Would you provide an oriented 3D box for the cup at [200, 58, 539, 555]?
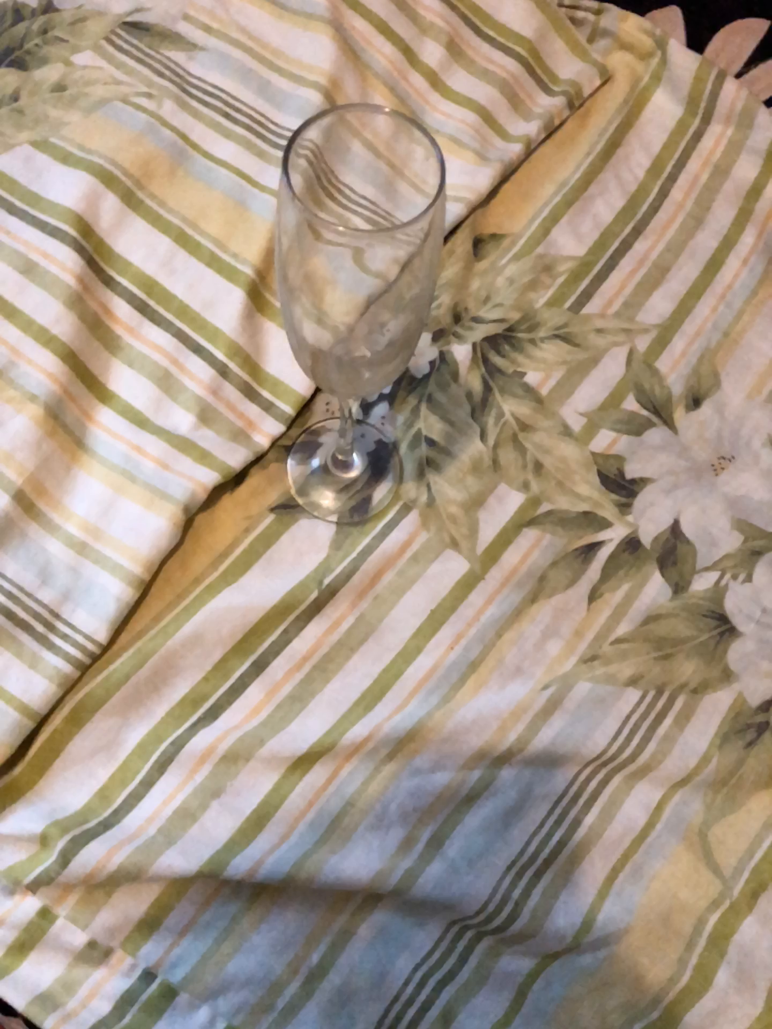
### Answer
[{"bbox_3d":[-0.014,-0.065,0.367,0.071,0.218,0.082,-32,77,-14],"label":"cup"}]
